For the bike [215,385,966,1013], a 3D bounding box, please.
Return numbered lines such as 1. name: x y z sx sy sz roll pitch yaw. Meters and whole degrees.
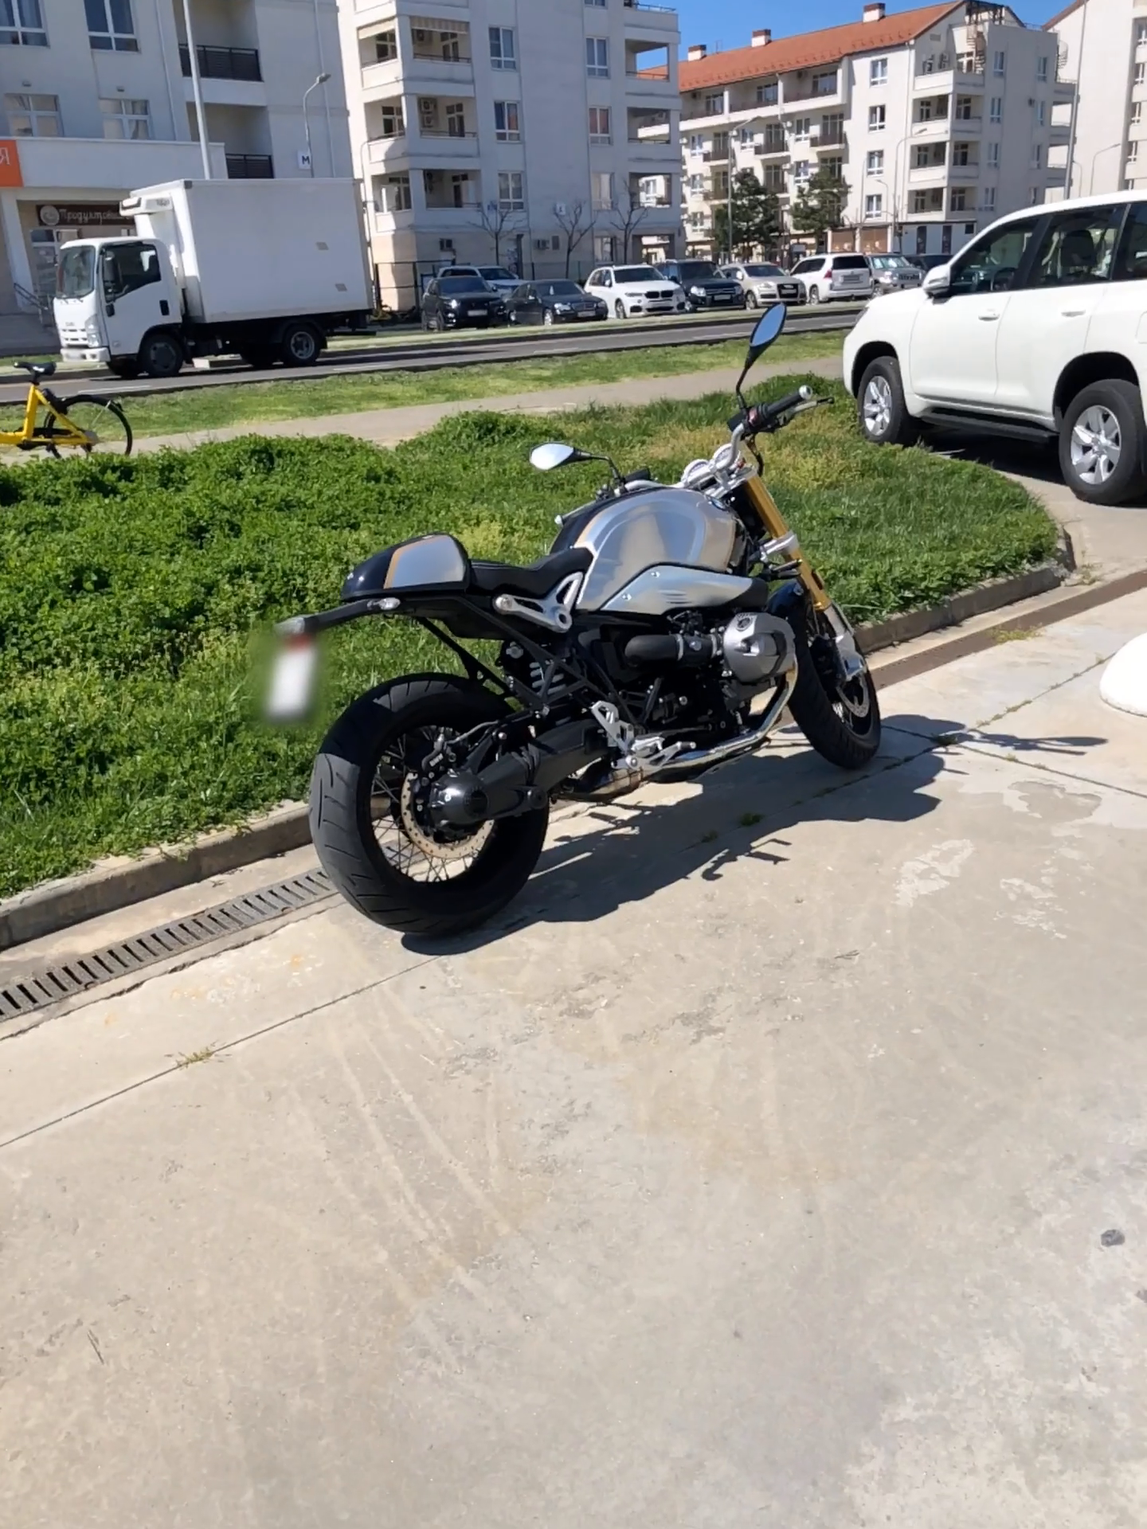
1. bike: 0.216 -0.350 3.400 0.648 1.122 2.073 16 28 40
